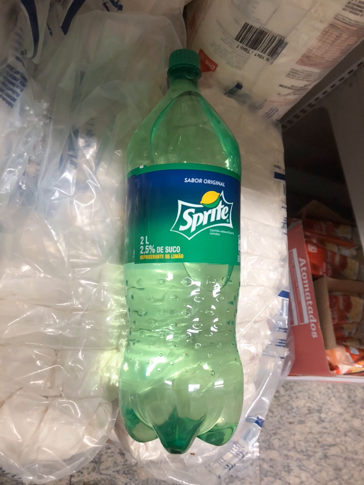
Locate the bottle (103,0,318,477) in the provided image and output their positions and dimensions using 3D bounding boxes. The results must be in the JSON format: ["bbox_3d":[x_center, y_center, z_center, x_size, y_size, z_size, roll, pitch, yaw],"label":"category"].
[{"bbox_3d":[0.006,-0.034,0.348,0.110,0.109,0.380,4,73,-28],"label":"bottle"}]
